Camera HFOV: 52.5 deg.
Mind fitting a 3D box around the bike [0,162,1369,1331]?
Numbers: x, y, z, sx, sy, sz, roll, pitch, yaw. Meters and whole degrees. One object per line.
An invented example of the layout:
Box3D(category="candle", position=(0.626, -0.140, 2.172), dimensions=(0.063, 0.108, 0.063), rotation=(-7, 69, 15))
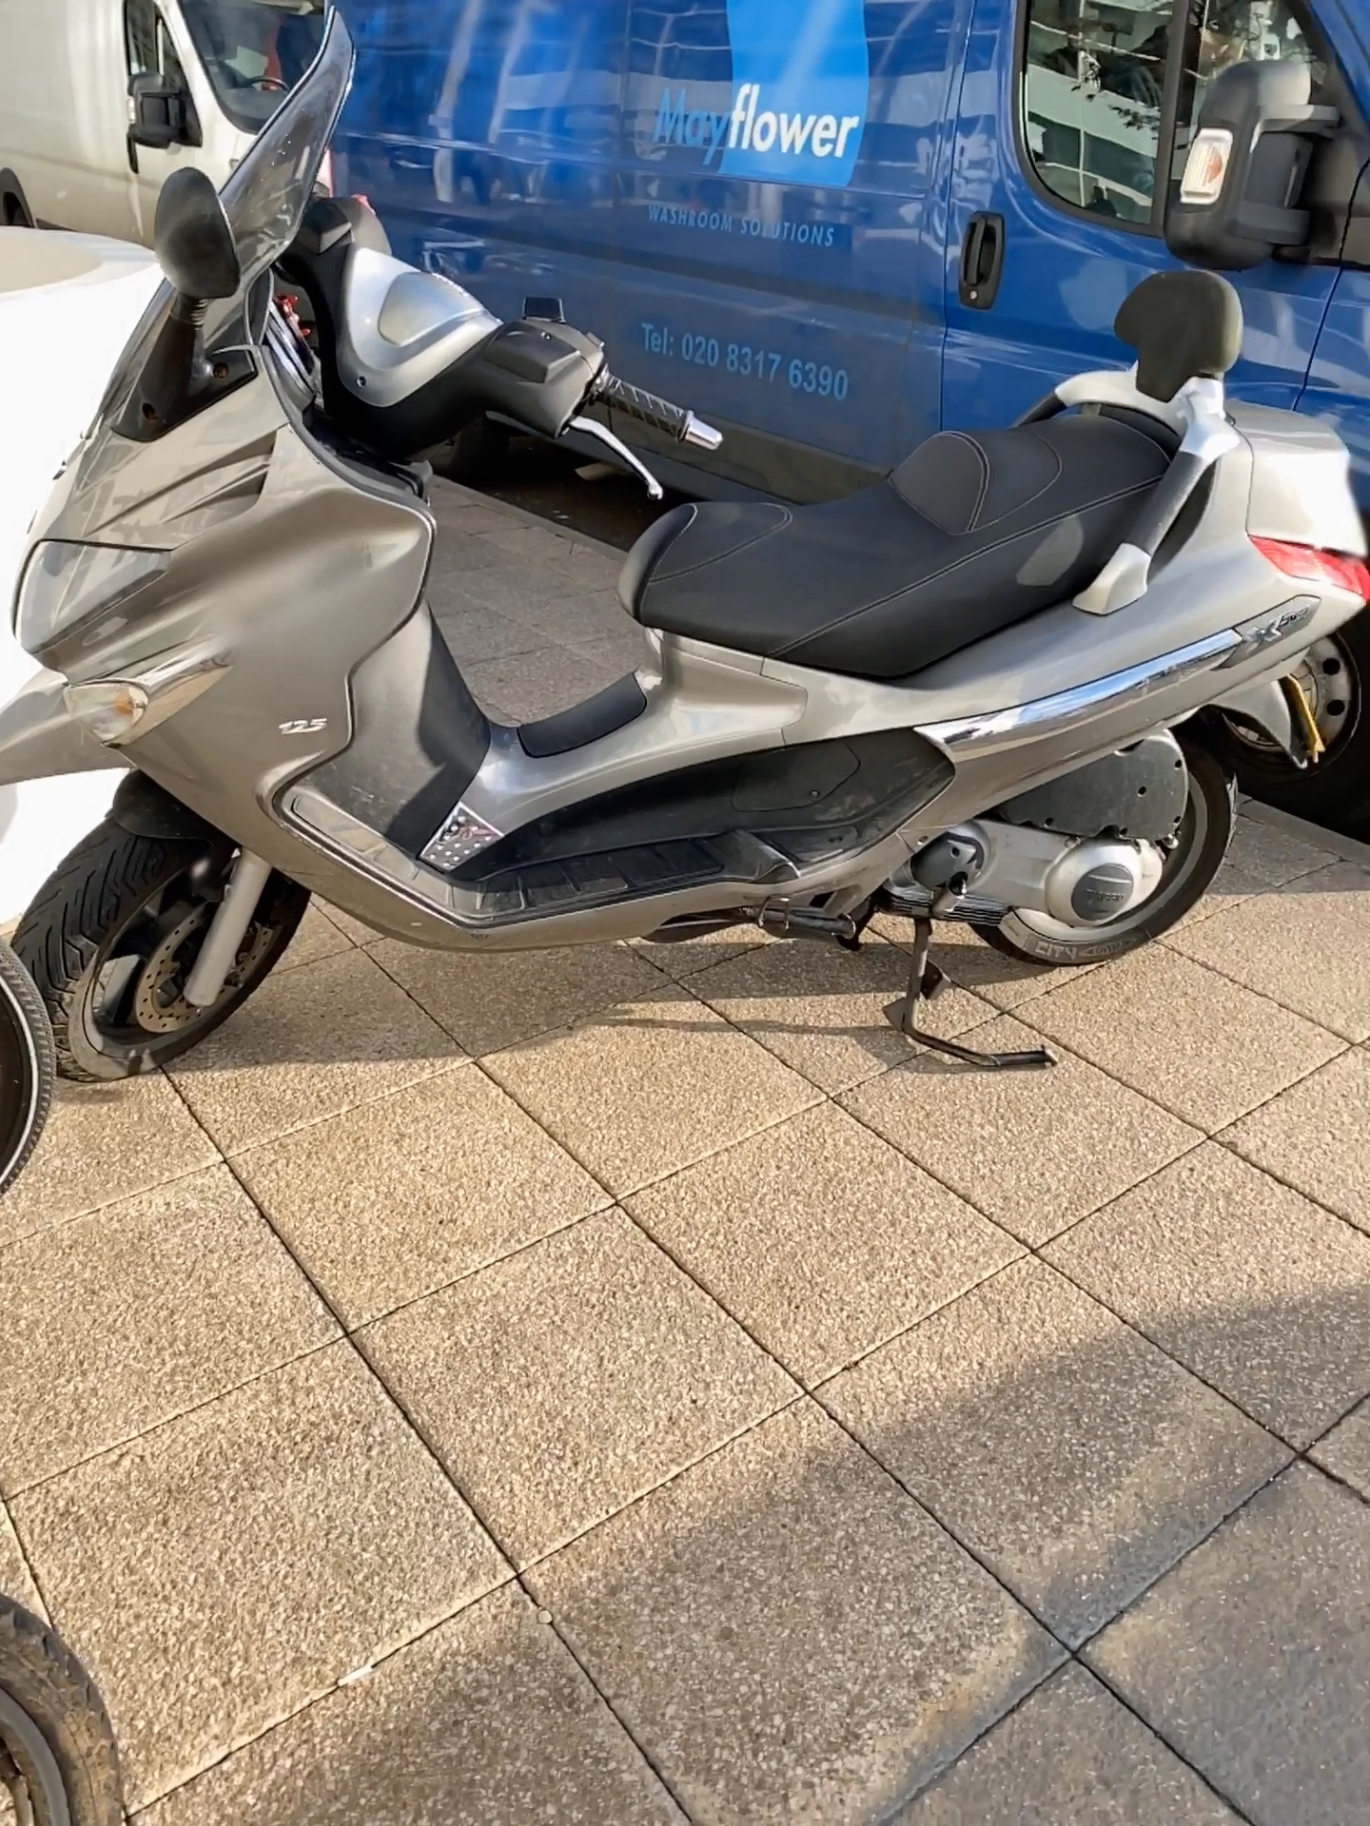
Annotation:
Box3D(category="bike", position=(0.019, -0.305, 1.719), dimensions=(1.654, 1.062, 0.658), rotation=(-9, 31, -16))
